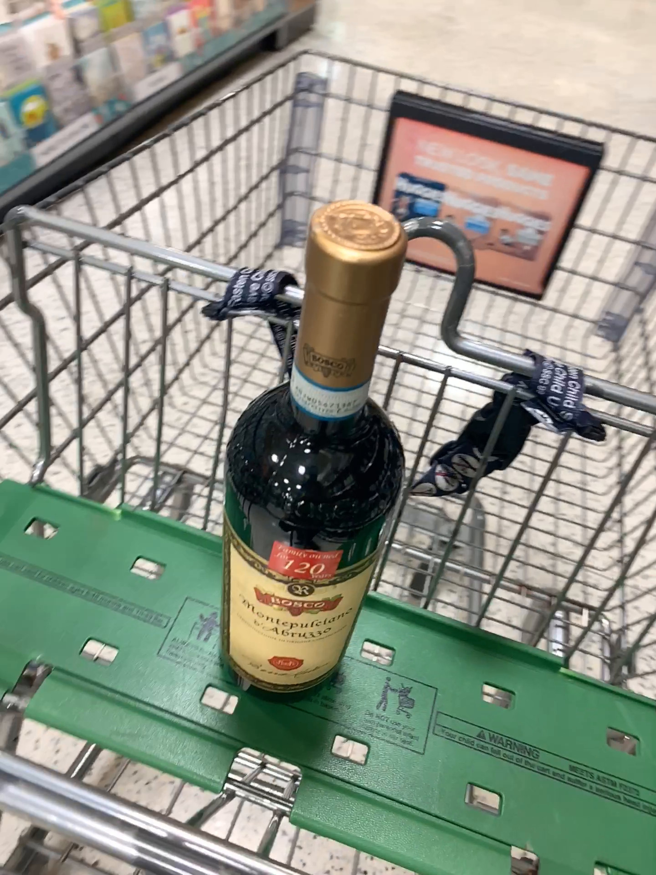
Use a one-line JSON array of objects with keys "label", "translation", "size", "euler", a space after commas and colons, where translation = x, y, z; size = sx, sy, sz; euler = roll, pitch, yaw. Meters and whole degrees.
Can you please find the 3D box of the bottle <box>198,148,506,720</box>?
[{"label": "bottle", "translation": [-0.007, 0.031, 0.304], "size": [0.080, 0.277, 0.081], "euler": [5, 48, -5]}]
